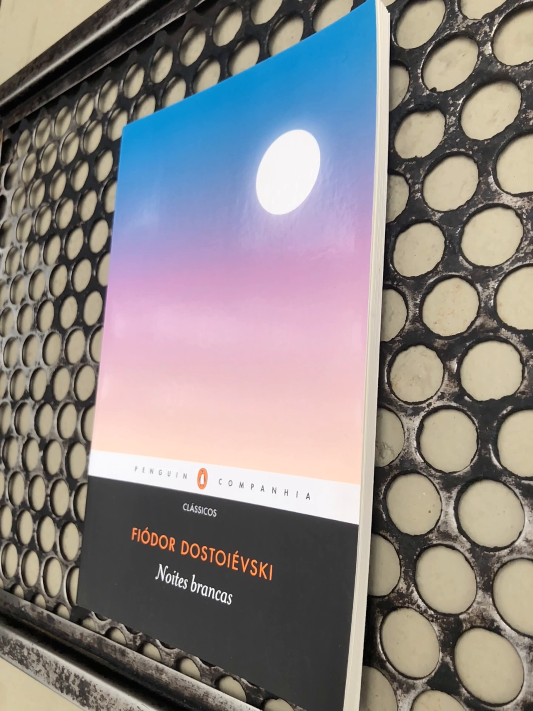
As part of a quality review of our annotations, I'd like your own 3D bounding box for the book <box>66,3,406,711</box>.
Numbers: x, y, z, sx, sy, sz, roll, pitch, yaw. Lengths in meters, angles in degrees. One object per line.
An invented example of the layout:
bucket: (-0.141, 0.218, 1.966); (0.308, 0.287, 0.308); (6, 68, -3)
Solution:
book: (-0.019, -0.001, 0.203); (0.133, 0.010, 0.191); (-2, 81, 42)
